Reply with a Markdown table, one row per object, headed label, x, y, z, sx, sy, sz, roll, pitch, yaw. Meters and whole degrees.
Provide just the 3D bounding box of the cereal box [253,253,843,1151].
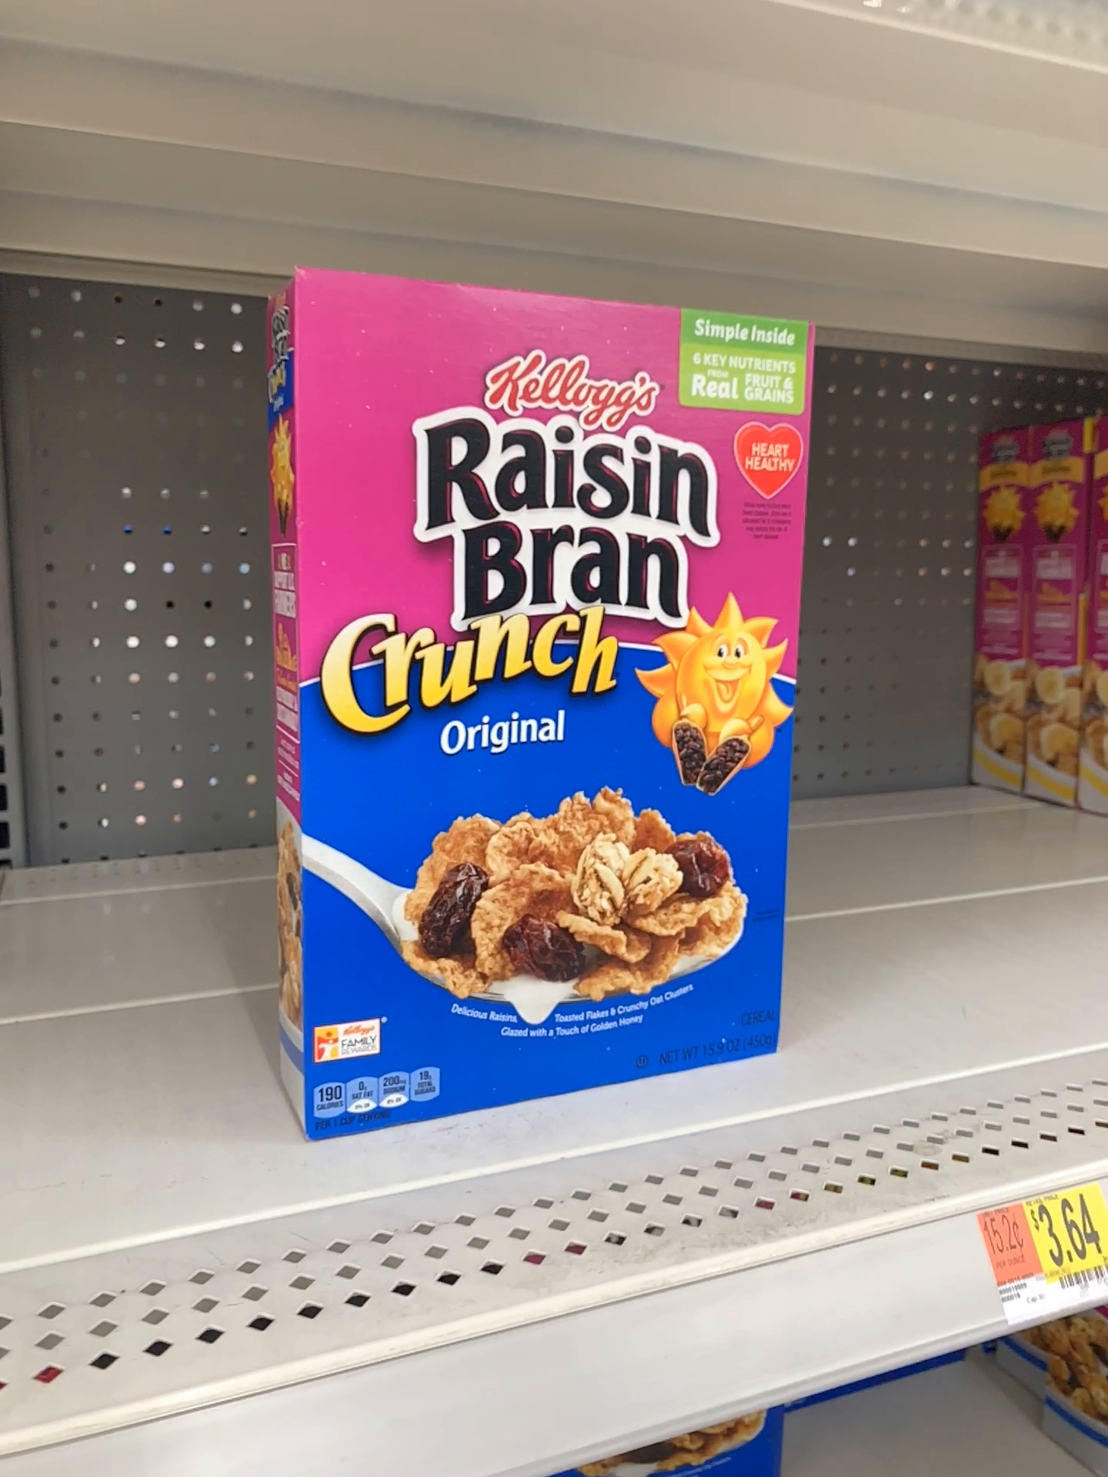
| label | x | y | z | sx | sy | sz | roll | pitch | yaw |
| --- | --- | --- | --- | --- | --- | --- | --- | --- | --- |
| cereal box | 0.001 | -0.013 | 0.416 | 0.200 | 0.279 | 0.050 | -3 | 8 | -22 |
